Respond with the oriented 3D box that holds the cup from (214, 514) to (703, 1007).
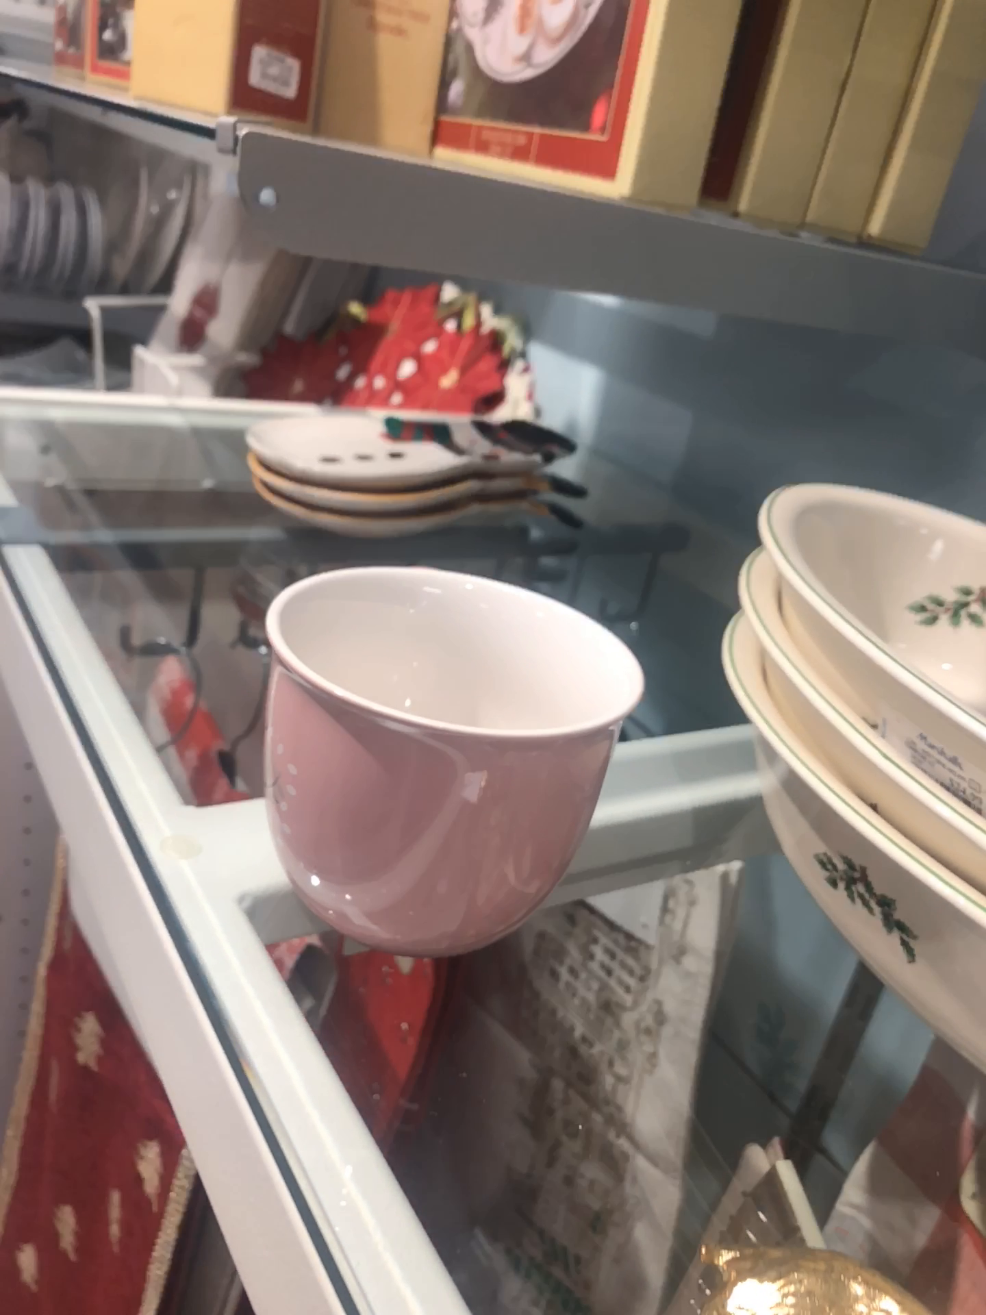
[{"bbox_3d":[-0.023,0.025,0.340,0.112,0.085,0.136,5,25,-15],"label":"cup"}]
